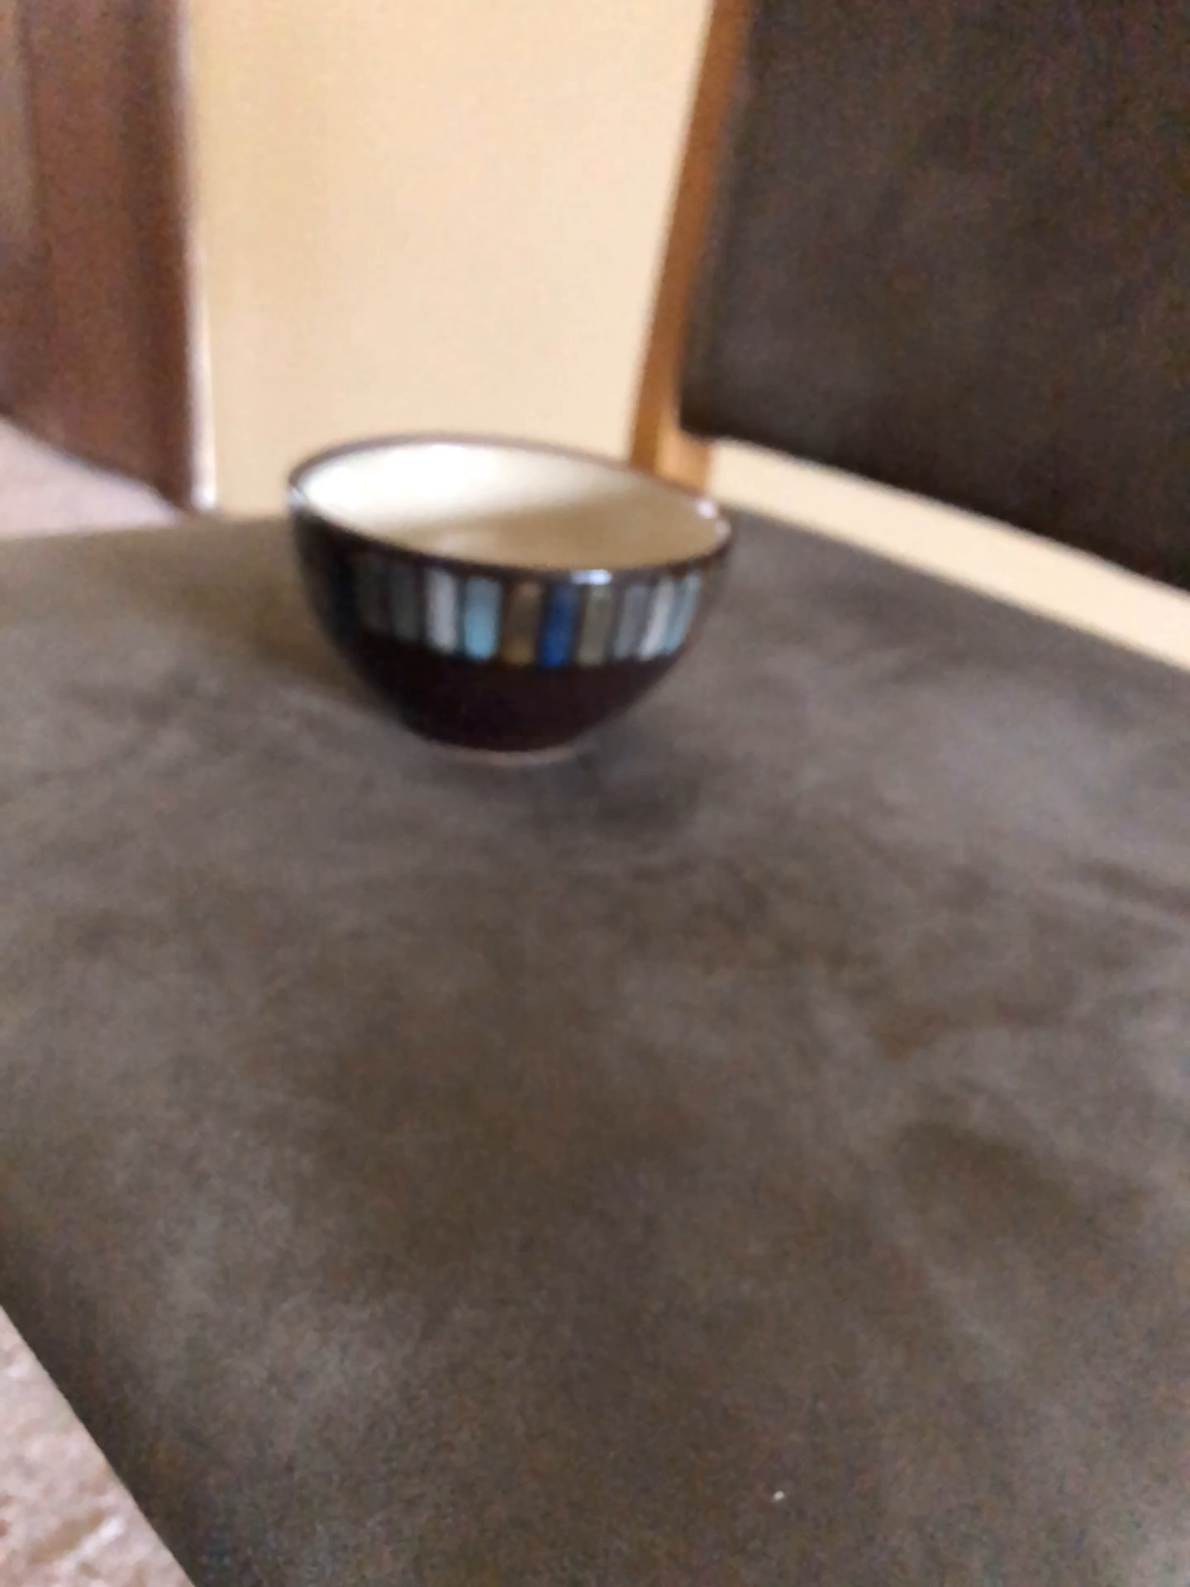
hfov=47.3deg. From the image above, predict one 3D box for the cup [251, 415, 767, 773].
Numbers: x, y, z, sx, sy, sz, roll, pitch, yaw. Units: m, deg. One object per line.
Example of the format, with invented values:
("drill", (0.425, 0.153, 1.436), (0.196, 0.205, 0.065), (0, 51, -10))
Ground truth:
("cup", (-0.022, -0.055, 0.346), (0.108, 0.044, 0.115), (5, 29, -3))
